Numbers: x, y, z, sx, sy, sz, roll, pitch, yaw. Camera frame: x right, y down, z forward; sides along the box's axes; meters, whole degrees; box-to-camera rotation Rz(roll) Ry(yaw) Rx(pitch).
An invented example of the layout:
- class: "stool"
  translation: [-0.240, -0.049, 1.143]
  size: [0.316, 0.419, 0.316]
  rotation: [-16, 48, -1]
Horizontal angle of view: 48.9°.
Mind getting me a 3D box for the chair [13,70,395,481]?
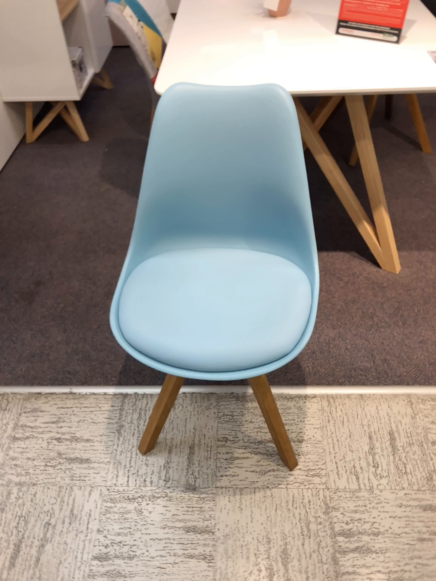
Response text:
- class: "chair"
  translation: [0.011, -0.011, 1.152]
  size: [0.540, 0.796, 0.563]
  rotation: [2, 45, 5]
